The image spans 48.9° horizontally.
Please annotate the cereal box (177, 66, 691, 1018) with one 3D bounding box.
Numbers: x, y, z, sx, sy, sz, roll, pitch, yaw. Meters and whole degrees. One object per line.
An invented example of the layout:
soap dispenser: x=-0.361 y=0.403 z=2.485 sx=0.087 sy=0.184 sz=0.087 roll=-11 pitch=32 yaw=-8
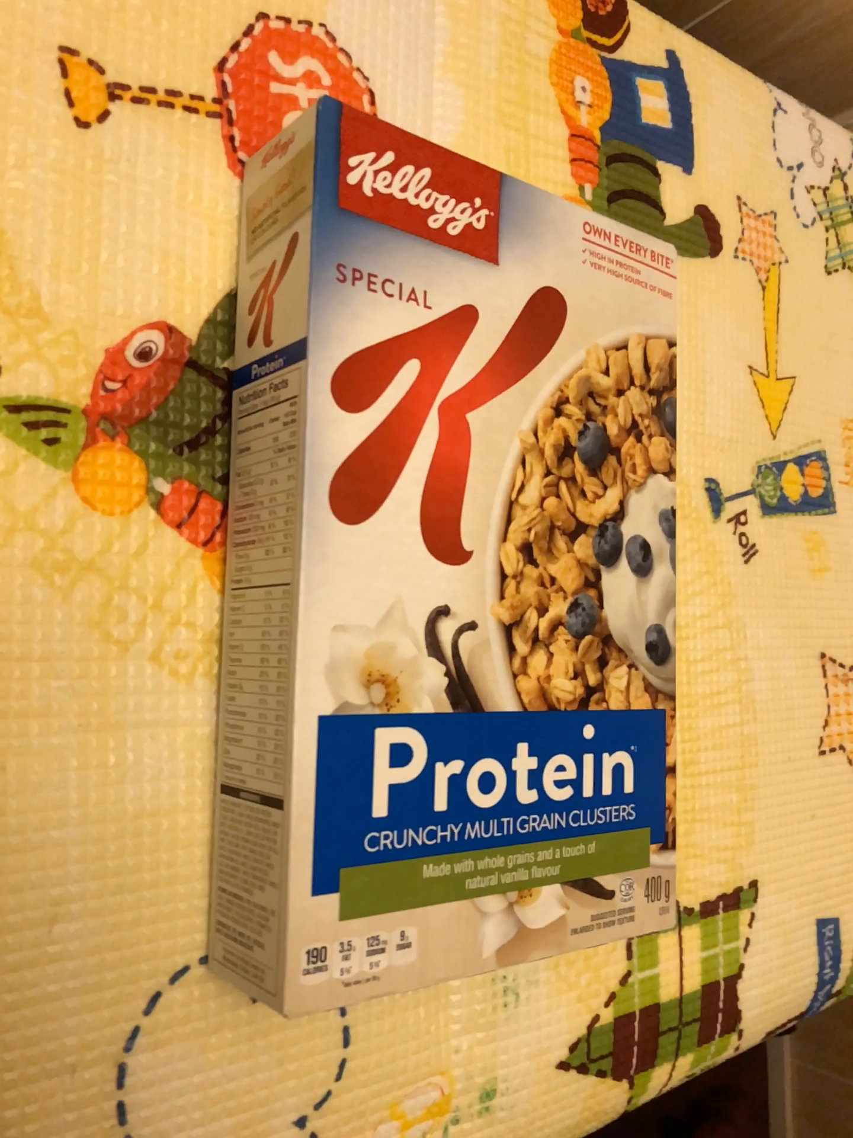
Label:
cereal box: x=0.013 y=-0.004 z=0.319 sx=0.160 sy=0.060 sz=0.250 roll=7 pitch=84 yaw=-40
